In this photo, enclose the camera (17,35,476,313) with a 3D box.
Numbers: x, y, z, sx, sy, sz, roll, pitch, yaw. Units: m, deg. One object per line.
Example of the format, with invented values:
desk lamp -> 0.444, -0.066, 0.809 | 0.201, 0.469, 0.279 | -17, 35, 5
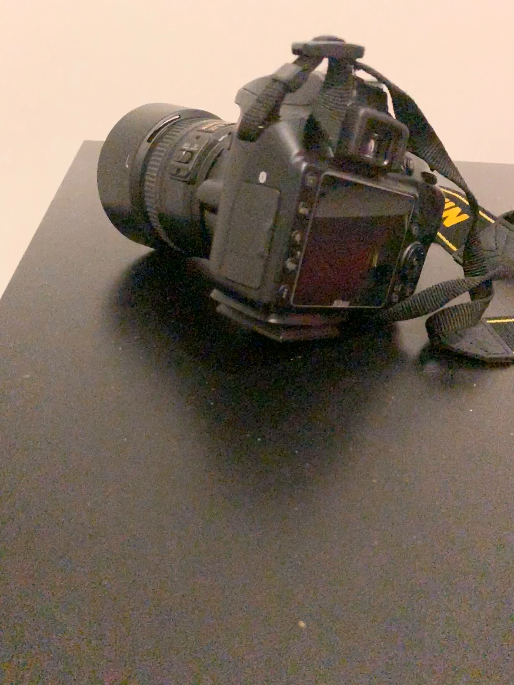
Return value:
camera -> -0.023, -0.094, 0.289 | 0.116, 0.089, 0.220 | -2, 22, -46
